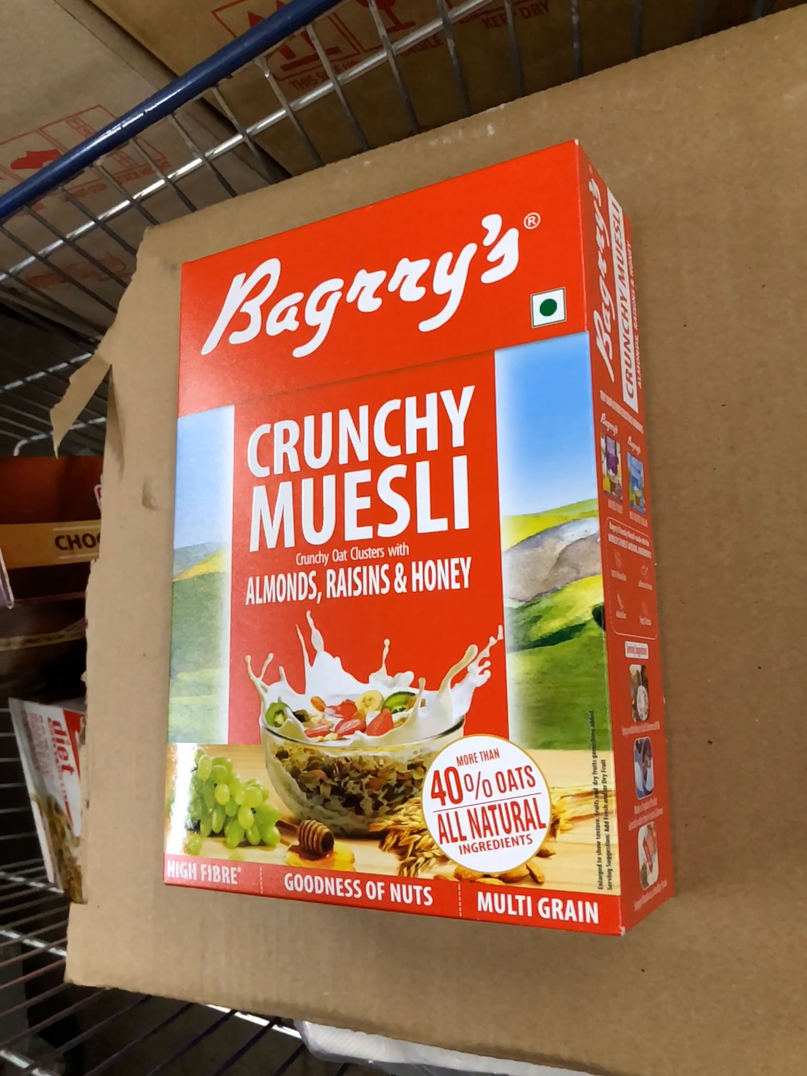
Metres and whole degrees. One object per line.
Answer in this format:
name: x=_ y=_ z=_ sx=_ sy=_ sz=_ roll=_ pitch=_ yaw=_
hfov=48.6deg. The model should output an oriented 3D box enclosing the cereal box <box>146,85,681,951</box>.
cereal box: x=-0.004 y=-0.003 z=0.338 sx=0.180 sy=0.070 sz=0.260 roll=-6 pitch=80 yaw=29
